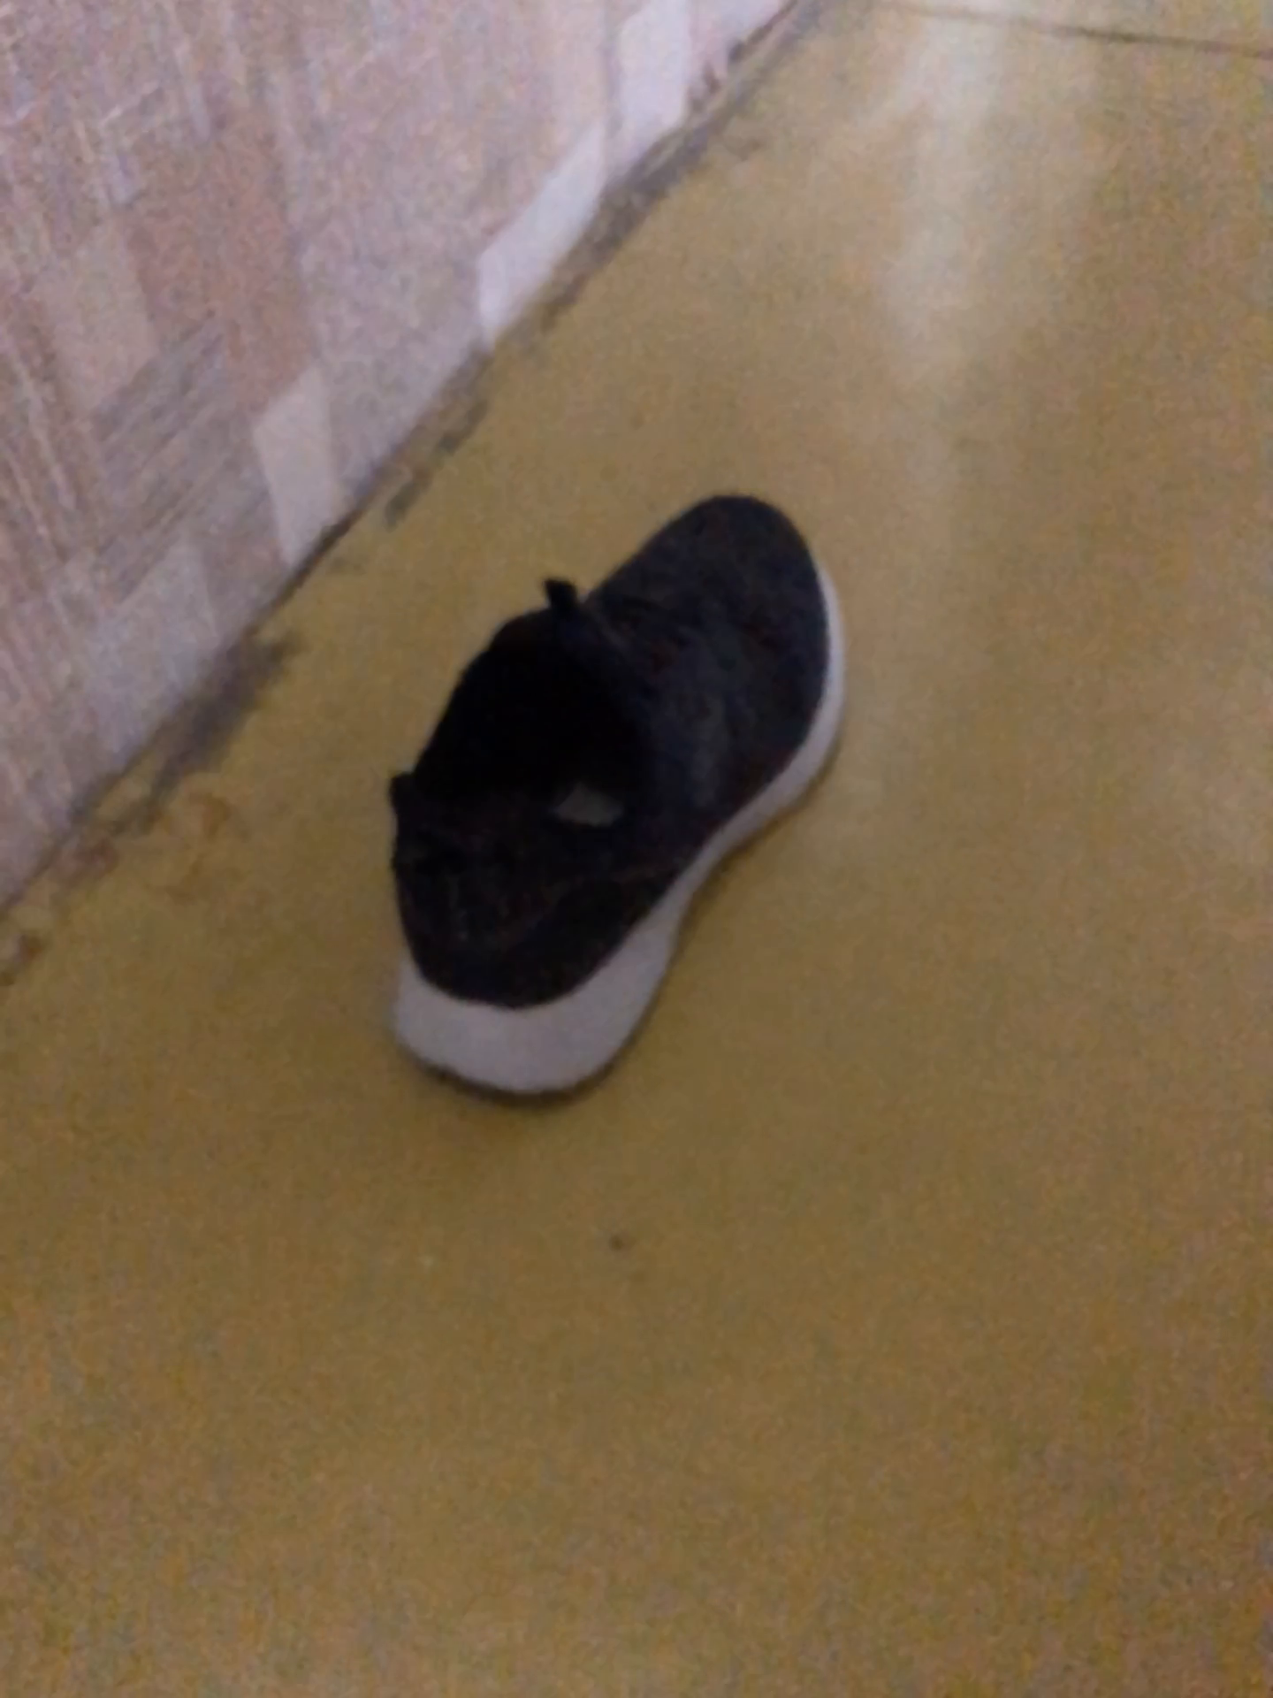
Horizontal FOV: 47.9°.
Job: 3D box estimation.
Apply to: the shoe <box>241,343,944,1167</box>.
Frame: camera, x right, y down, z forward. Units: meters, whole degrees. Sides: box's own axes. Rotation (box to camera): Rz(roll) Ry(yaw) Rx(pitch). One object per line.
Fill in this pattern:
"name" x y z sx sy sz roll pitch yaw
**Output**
"shoe" 0.002 -0.056 0.584 0.130 0.120 0.321 20 54 18
